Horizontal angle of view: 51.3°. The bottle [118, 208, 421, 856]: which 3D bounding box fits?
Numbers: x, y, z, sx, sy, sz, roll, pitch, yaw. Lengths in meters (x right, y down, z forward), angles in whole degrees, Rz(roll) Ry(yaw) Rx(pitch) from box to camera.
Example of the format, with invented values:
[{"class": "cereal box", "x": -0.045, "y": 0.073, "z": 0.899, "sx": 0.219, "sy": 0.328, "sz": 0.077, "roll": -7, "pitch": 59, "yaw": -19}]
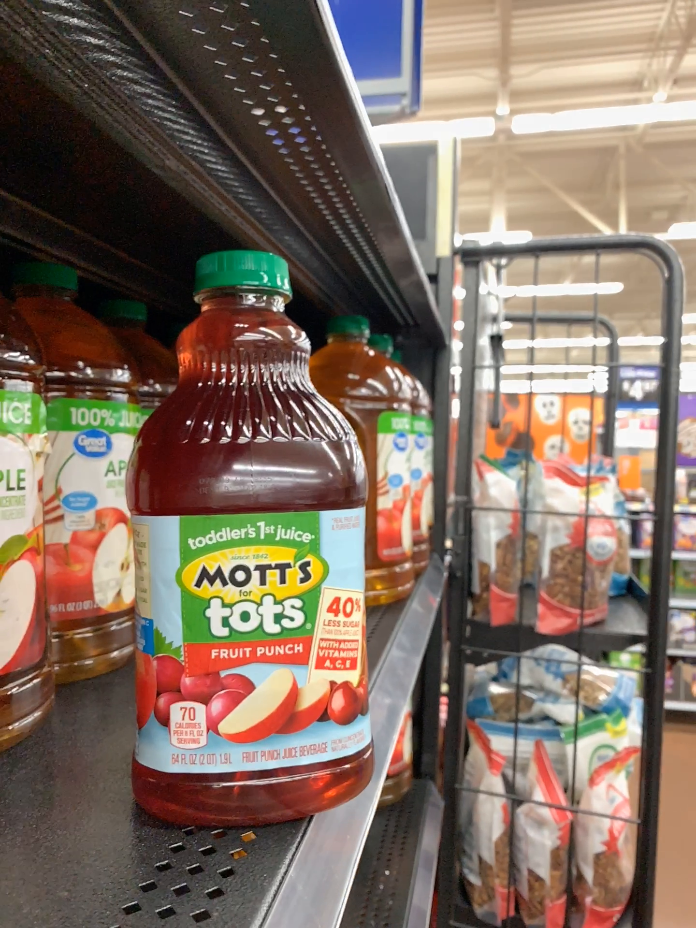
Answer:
[{"class": "bottle", "x": -0.045, "y": 0.026, "z": 0.350, "sx": 0.120, "sy": 0.250, "sz": 0.110, "roll": 1, "pitch": 1, "yaw": 0}]
